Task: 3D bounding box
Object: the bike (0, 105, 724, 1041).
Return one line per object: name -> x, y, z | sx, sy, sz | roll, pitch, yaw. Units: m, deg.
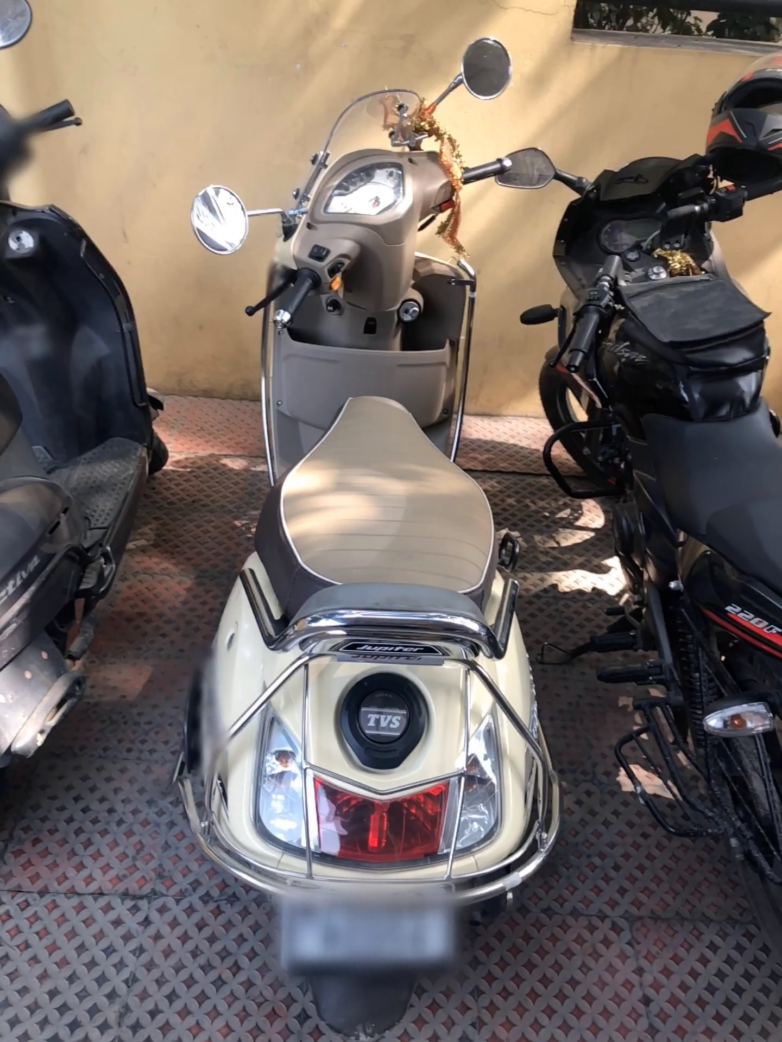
bike -> -0.172, -0.071, 1.673 | 0.644, 0.998, 1.635 | -2, 37, -8
